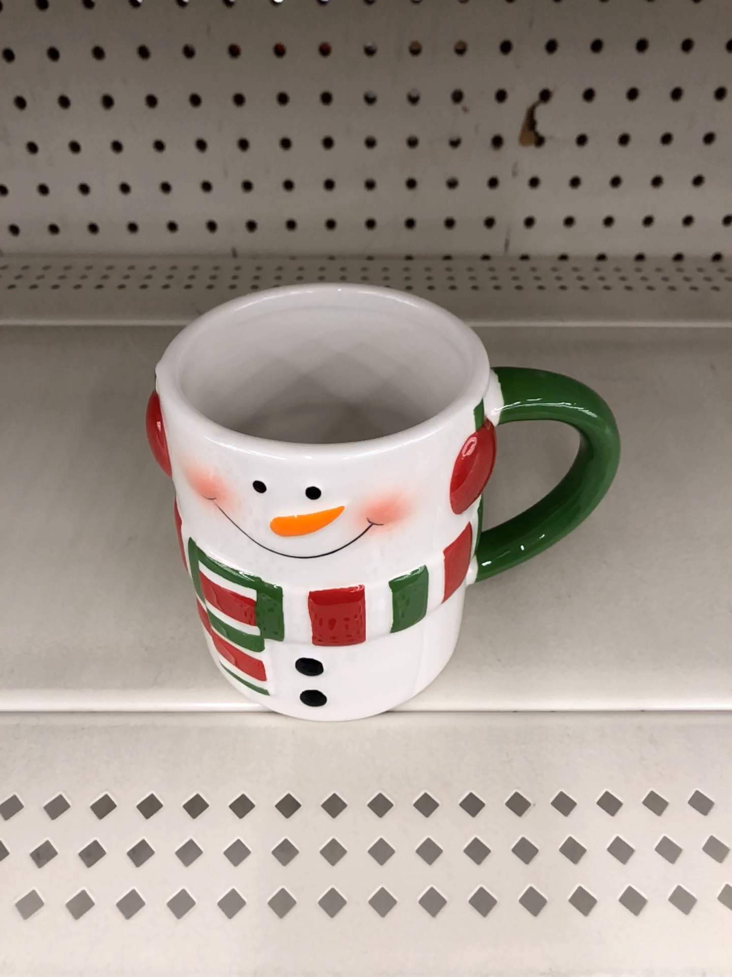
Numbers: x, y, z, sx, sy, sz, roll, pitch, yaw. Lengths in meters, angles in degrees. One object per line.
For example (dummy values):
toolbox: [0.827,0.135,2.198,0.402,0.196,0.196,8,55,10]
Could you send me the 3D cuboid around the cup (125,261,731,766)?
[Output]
cup: [0.012,0.007,0.242,0.130,0.110,0.090,-3,41,-3]
